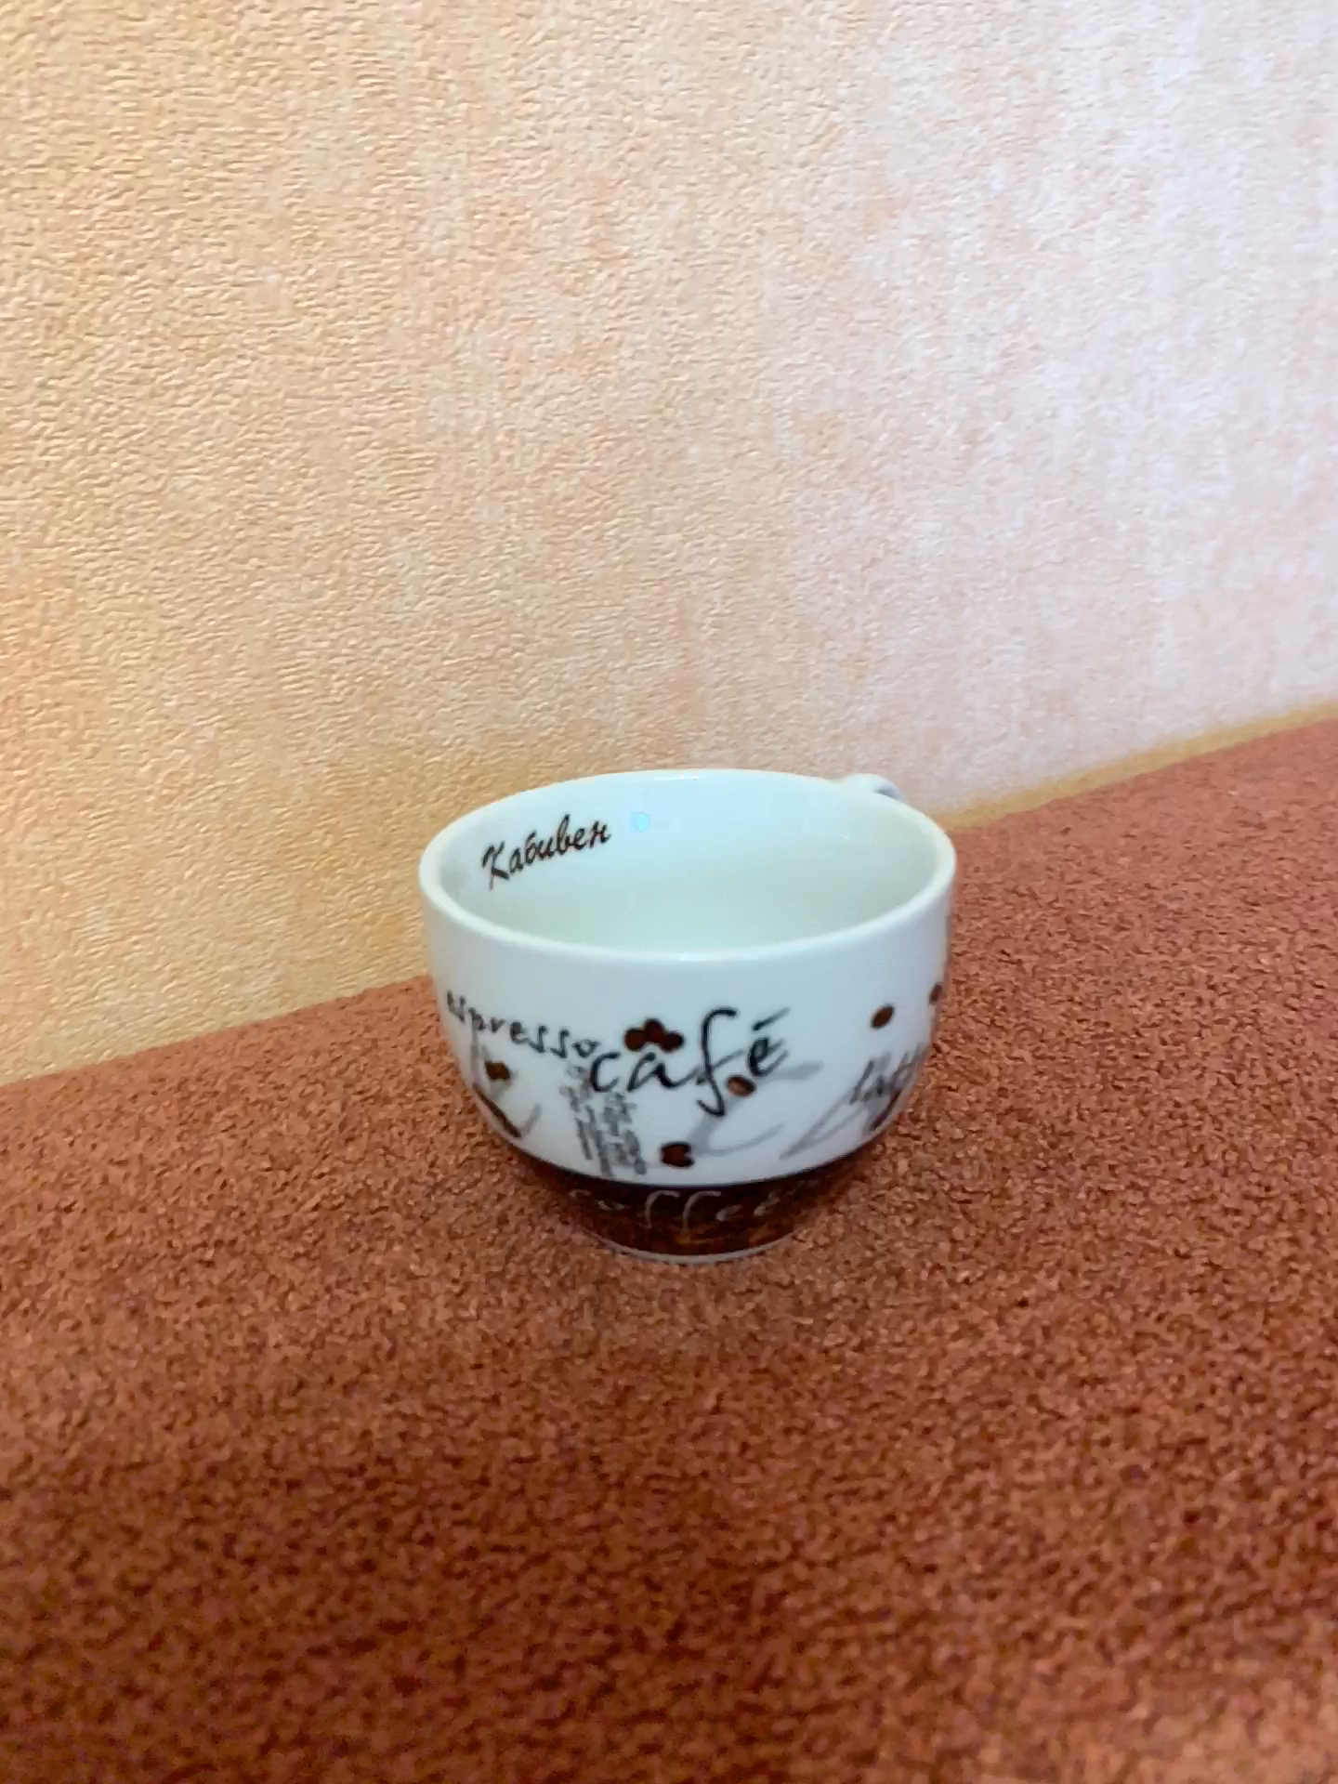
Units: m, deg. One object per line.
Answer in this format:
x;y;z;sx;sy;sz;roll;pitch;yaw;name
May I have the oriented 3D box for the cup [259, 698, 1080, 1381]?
0.005;0.009;0.179;0.065;0.040;0.083;14;29;34;cup
